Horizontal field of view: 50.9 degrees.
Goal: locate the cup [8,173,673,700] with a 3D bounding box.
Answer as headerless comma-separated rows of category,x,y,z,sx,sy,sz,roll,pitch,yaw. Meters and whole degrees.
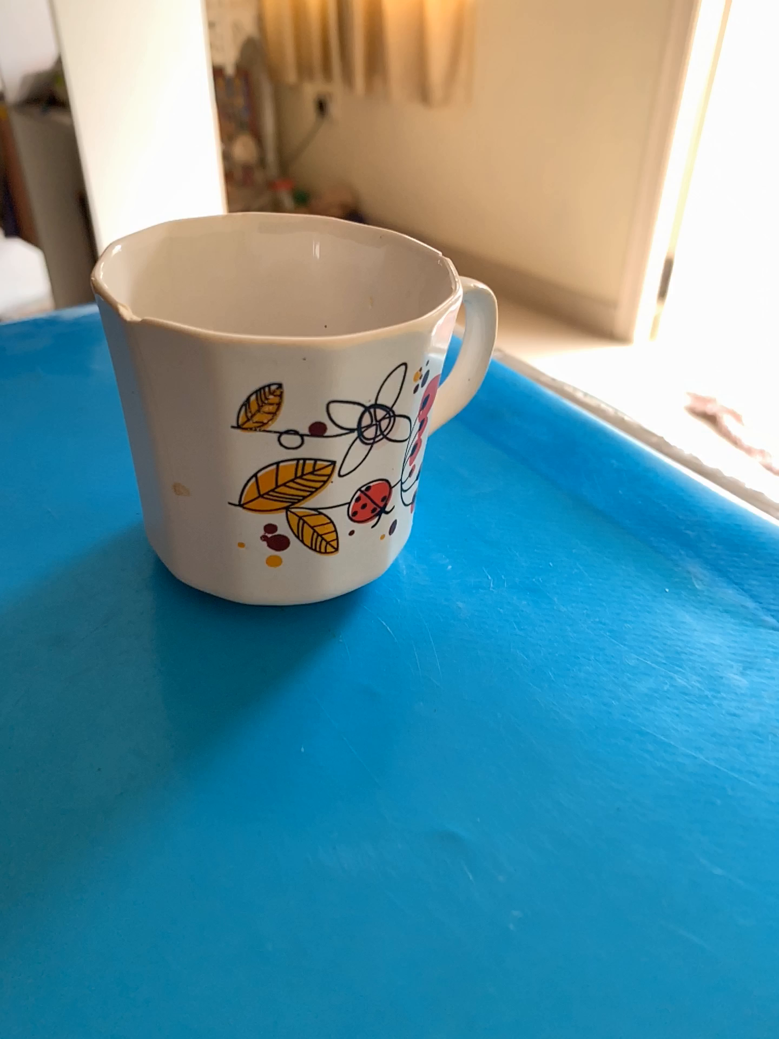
cup,-0.012,-0.025,0.165,0.100,0.060,0.070,-16,39,-21
